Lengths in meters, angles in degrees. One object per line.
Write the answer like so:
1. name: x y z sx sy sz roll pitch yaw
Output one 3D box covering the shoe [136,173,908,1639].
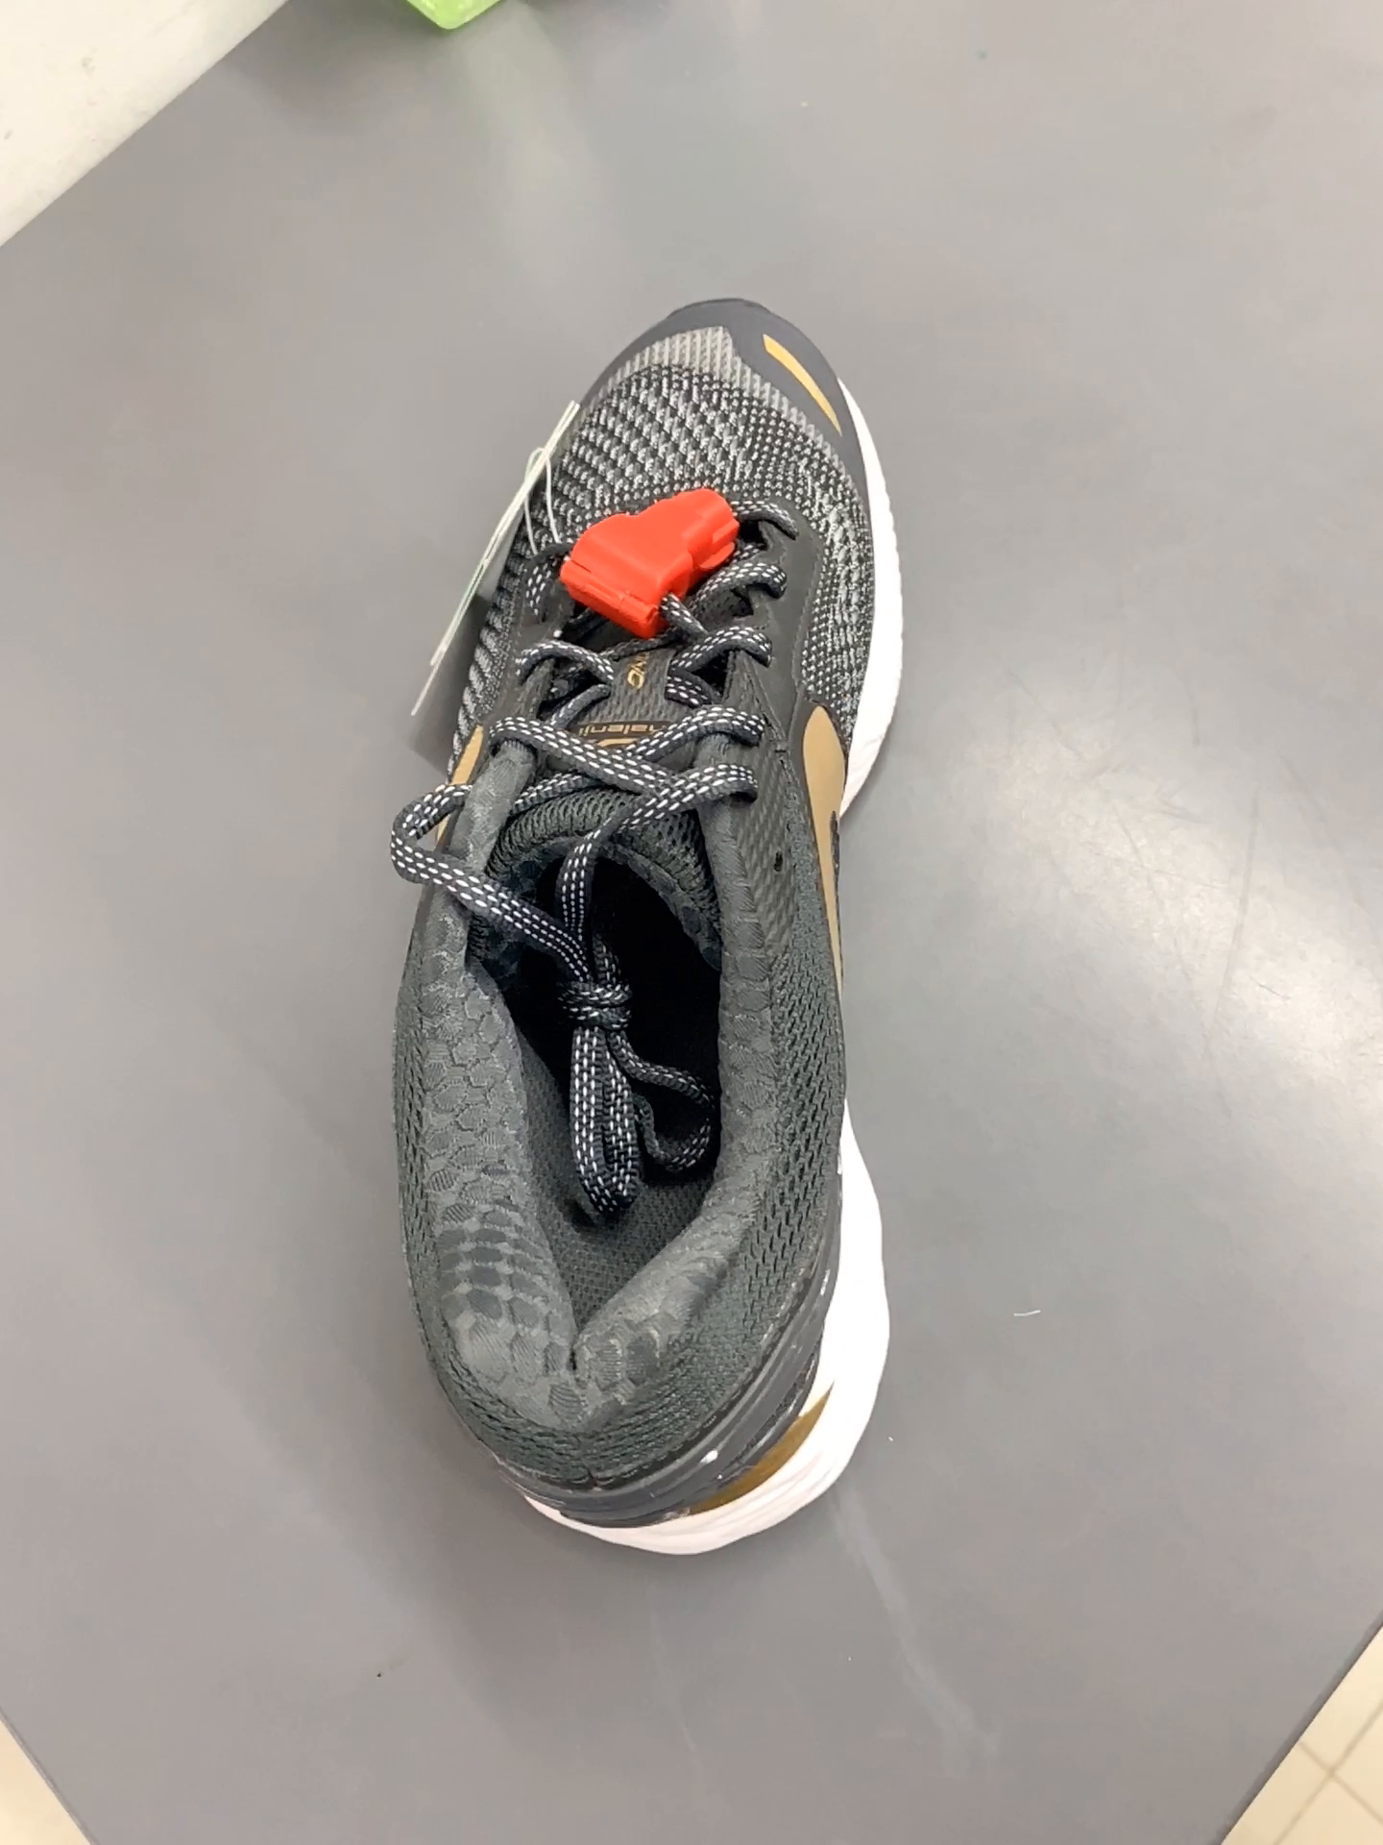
1. shoe: -0.012 -0.009 0.269 0.100 0.090 0.240 1 70 9
